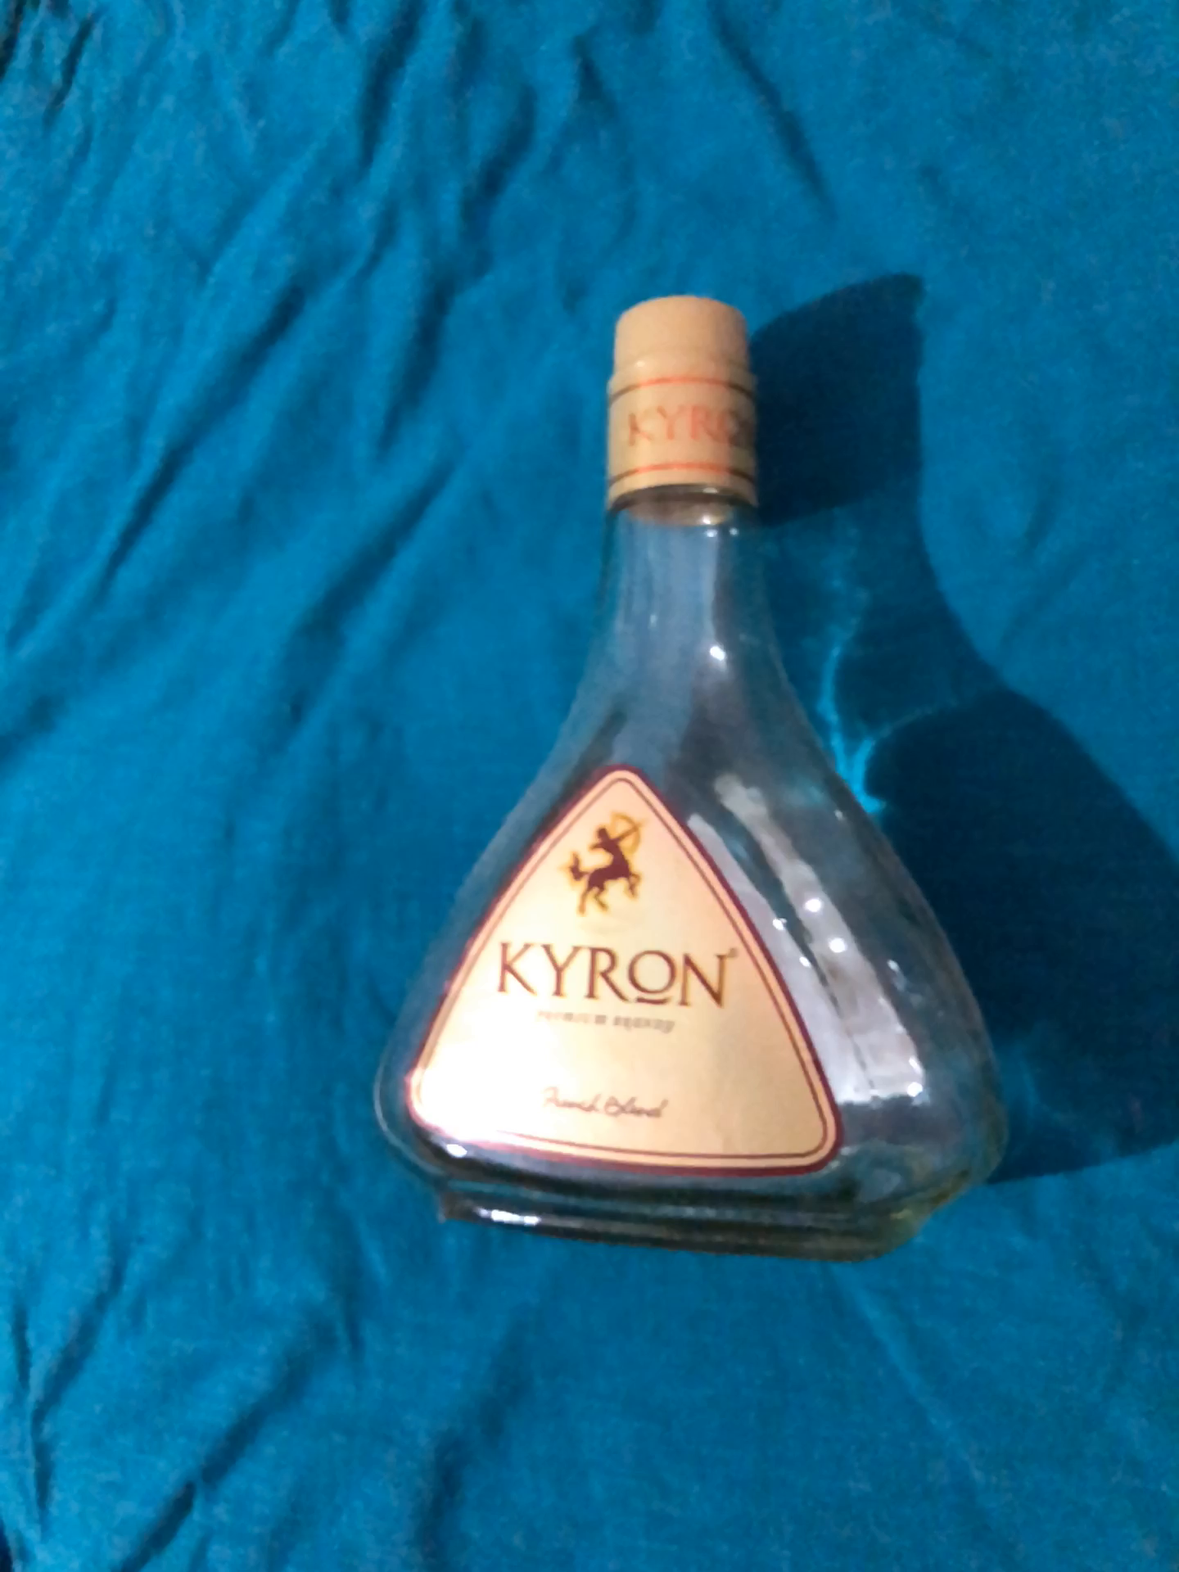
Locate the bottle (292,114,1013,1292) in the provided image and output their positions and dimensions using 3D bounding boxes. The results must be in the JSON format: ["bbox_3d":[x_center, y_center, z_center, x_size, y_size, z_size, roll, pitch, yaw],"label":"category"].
[{"bbox_3d":[0.012,-0.011,0.251,0.120,0.060,0.180,-2,86,22],"label":"bottle"}]
